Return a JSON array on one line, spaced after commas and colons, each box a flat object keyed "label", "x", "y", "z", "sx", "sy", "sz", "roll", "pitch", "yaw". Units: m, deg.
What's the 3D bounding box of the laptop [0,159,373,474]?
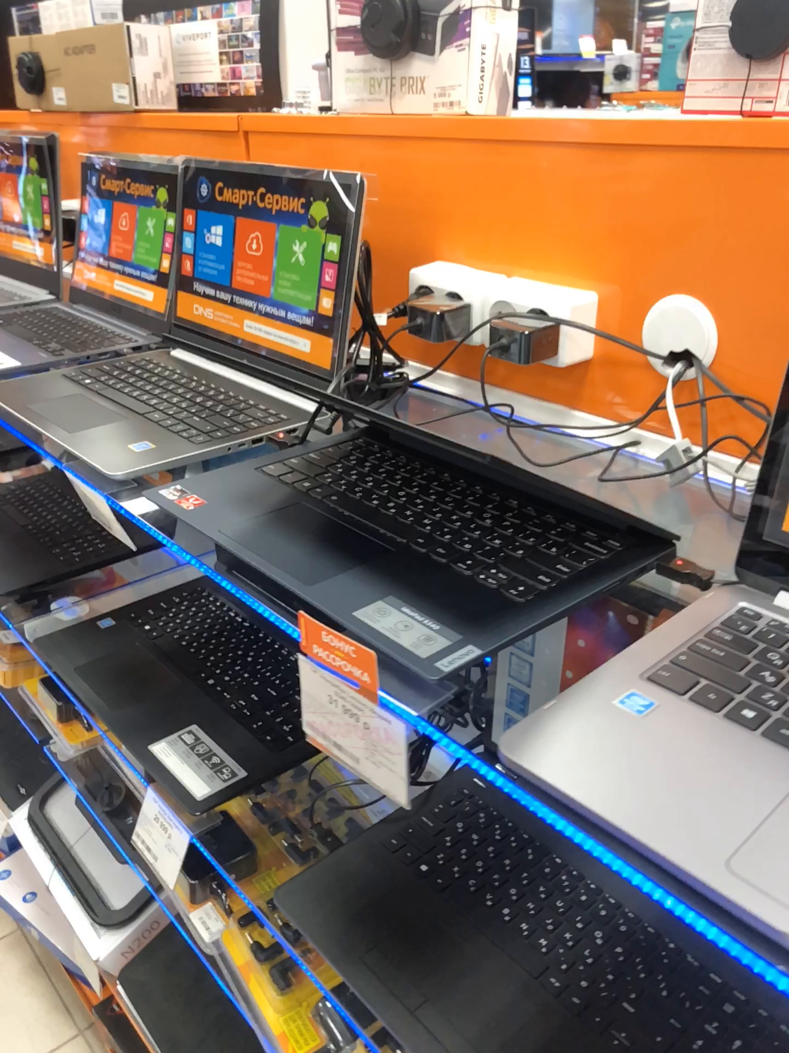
[{"label": "laptop", "x": -0.221, "y": -0.217, "z": 0.807, "sx": 0.250, "sy": 0.200, "sz": 0.303, "roll": -22, "pitch": 33, "yaw": -35}]

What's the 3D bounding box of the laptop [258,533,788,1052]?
[{"label": "laptop", "x": 0.129, "y": 0.204, "z": 0.569, "sx": 0.258, "sy": 0.226, "sz": 0.355, "roll": -23, "pitch": 32, "yaw": -34}]

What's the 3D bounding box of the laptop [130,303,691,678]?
[{"label": "laptop", "x": -0.005, "y": -0.054, "z": 0.559, "sx": 0.203, "sy": 0.108, "sz": 0.303, "roll": -20, "pitch": 31, "yaw": -35}]

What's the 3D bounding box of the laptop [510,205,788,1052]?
[{"label": "laptop", "x": 0.252, "y": 0.018, "z": 0.310, "sx": 0.258, "sy": 0.202, "sz": 0.331, "roll": -24, "pitch": 35, "yaw": -39}]
